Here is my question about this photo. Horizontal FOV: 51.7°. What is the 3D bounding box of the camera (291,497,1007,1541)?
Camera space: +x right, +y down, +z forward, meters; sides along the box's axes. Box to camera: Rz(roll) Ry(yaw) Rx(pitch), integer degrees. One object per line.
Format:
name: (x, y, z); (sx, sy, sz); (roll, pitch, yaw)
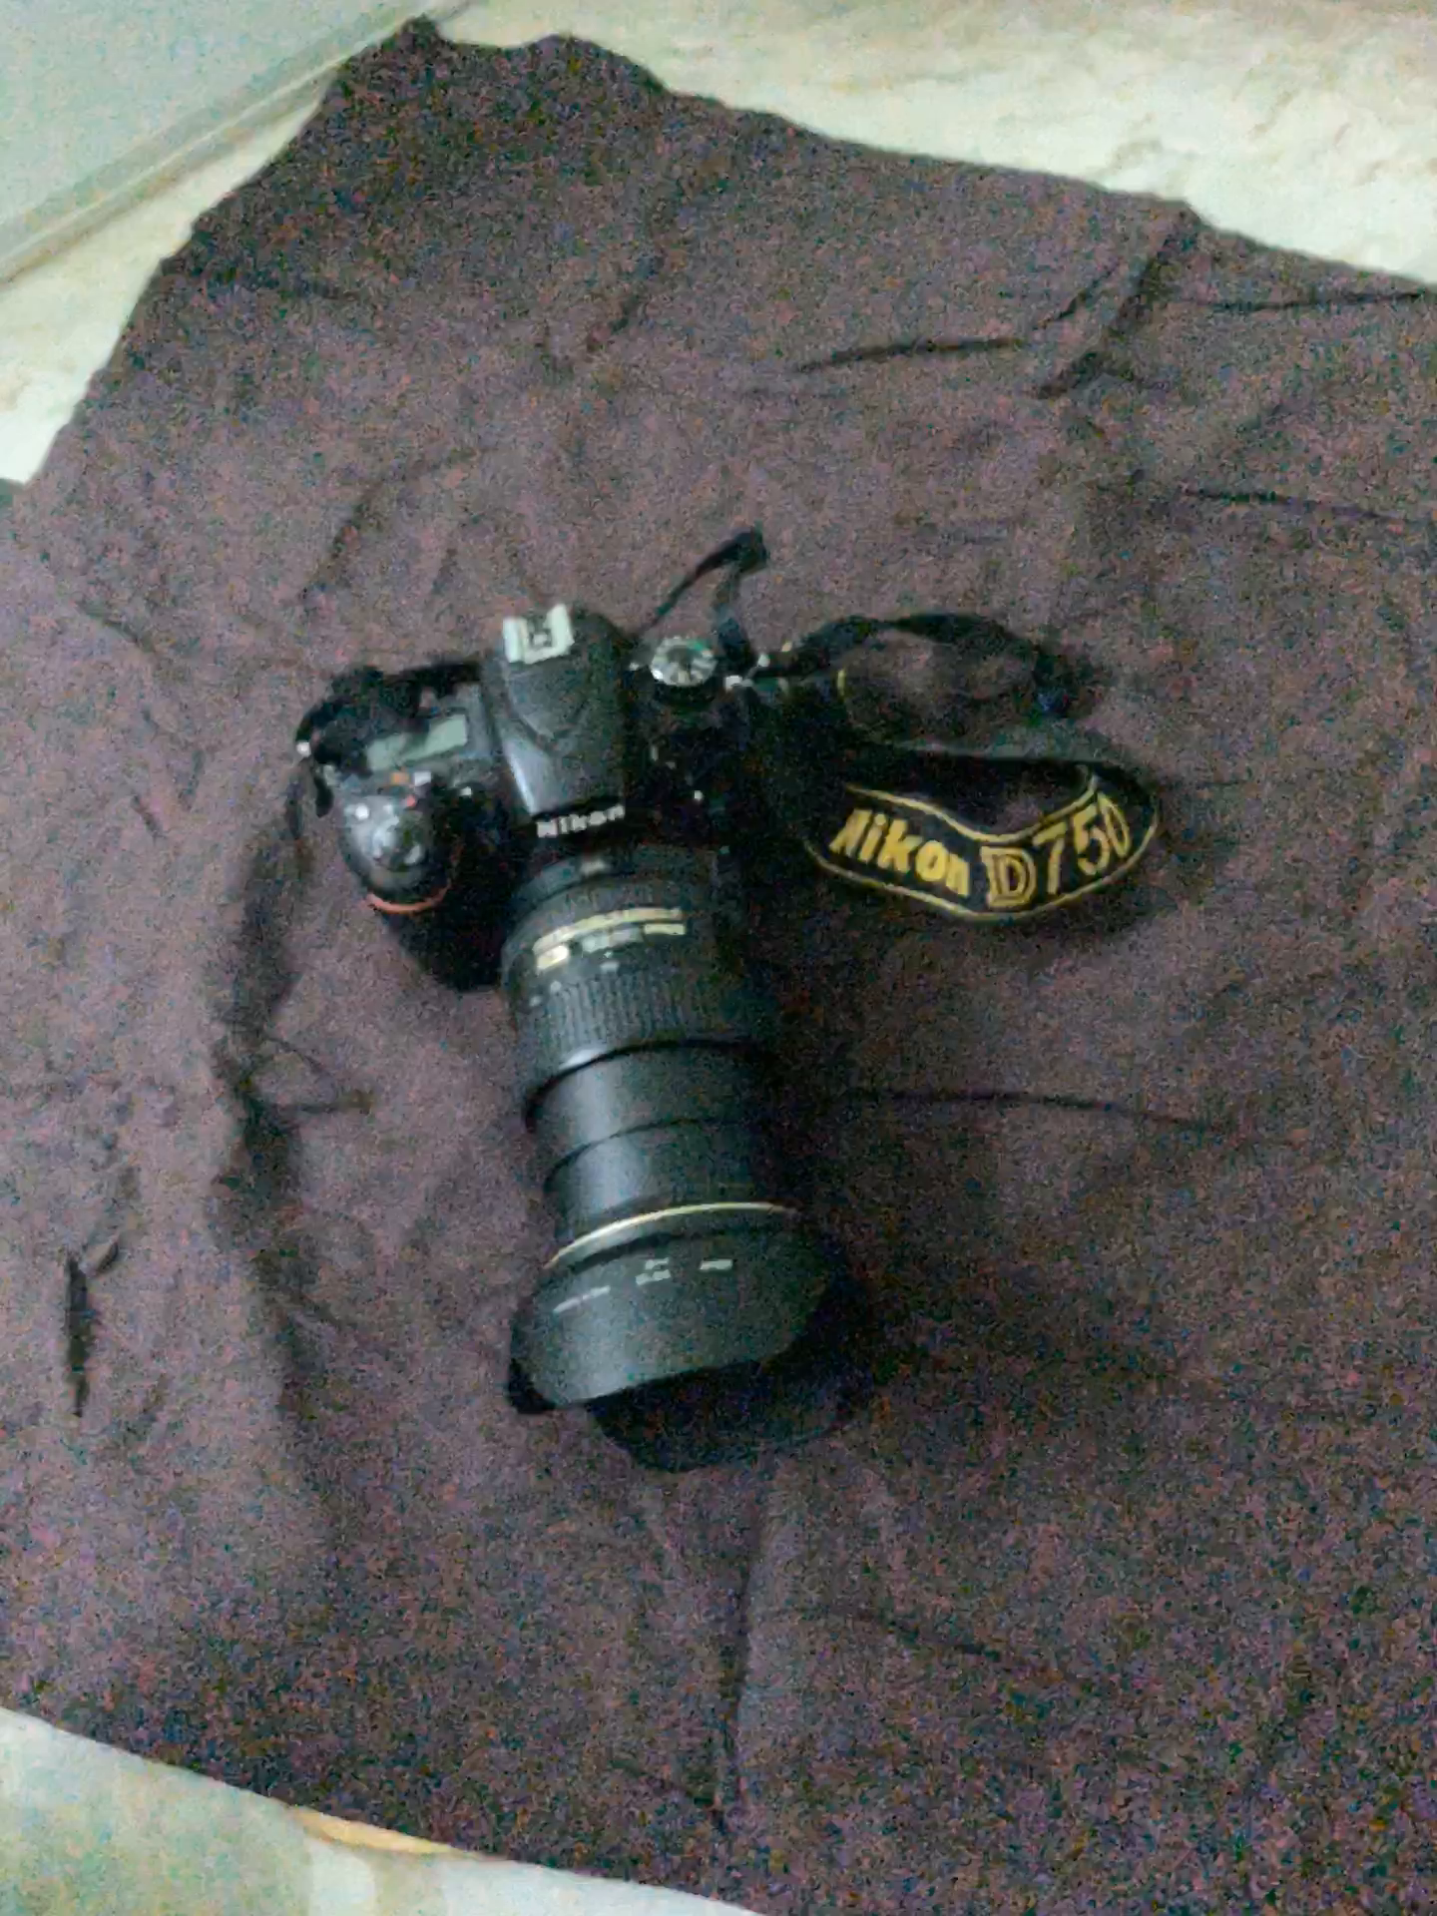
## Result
camera: (-0.029, 0.013, 0.460); (0.161, 0.100, 0.279); (-13, 63, 2)
